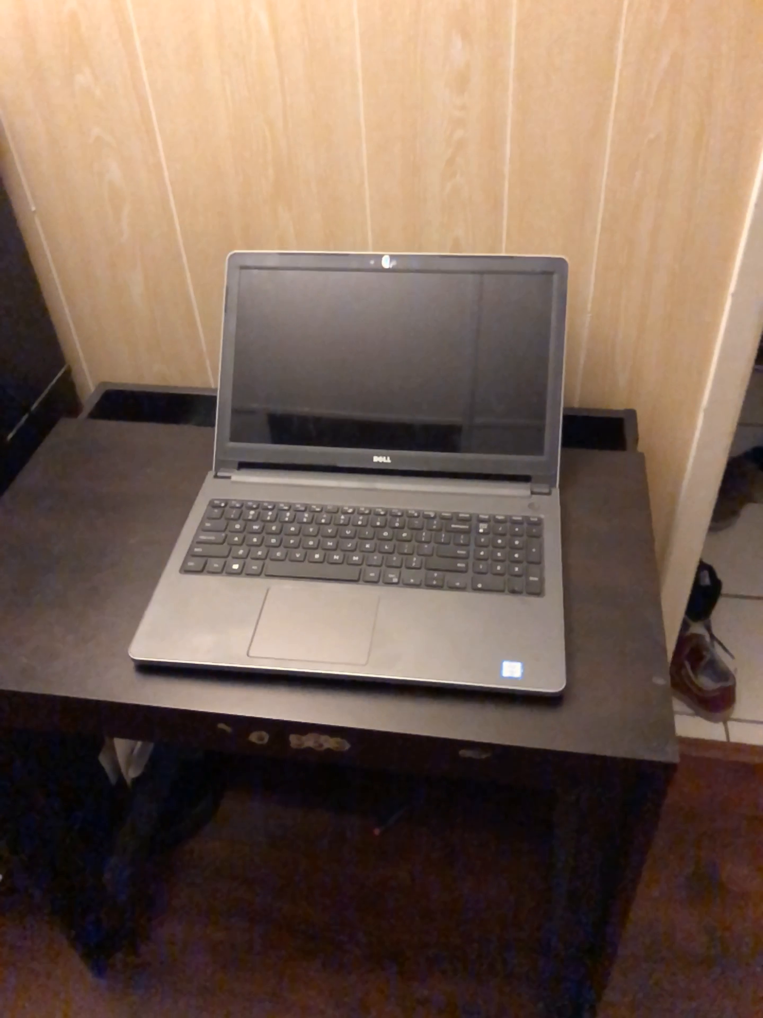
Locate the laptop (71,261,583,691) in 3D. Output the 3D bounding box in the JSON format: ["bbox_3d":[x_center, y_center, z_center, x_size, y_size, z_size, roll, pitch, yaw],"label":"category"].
[{"bbox_3d":[-0.013,-0.065,0.806,0.367,0.172,0.429,3,41,8],"label":"laptop"}]
